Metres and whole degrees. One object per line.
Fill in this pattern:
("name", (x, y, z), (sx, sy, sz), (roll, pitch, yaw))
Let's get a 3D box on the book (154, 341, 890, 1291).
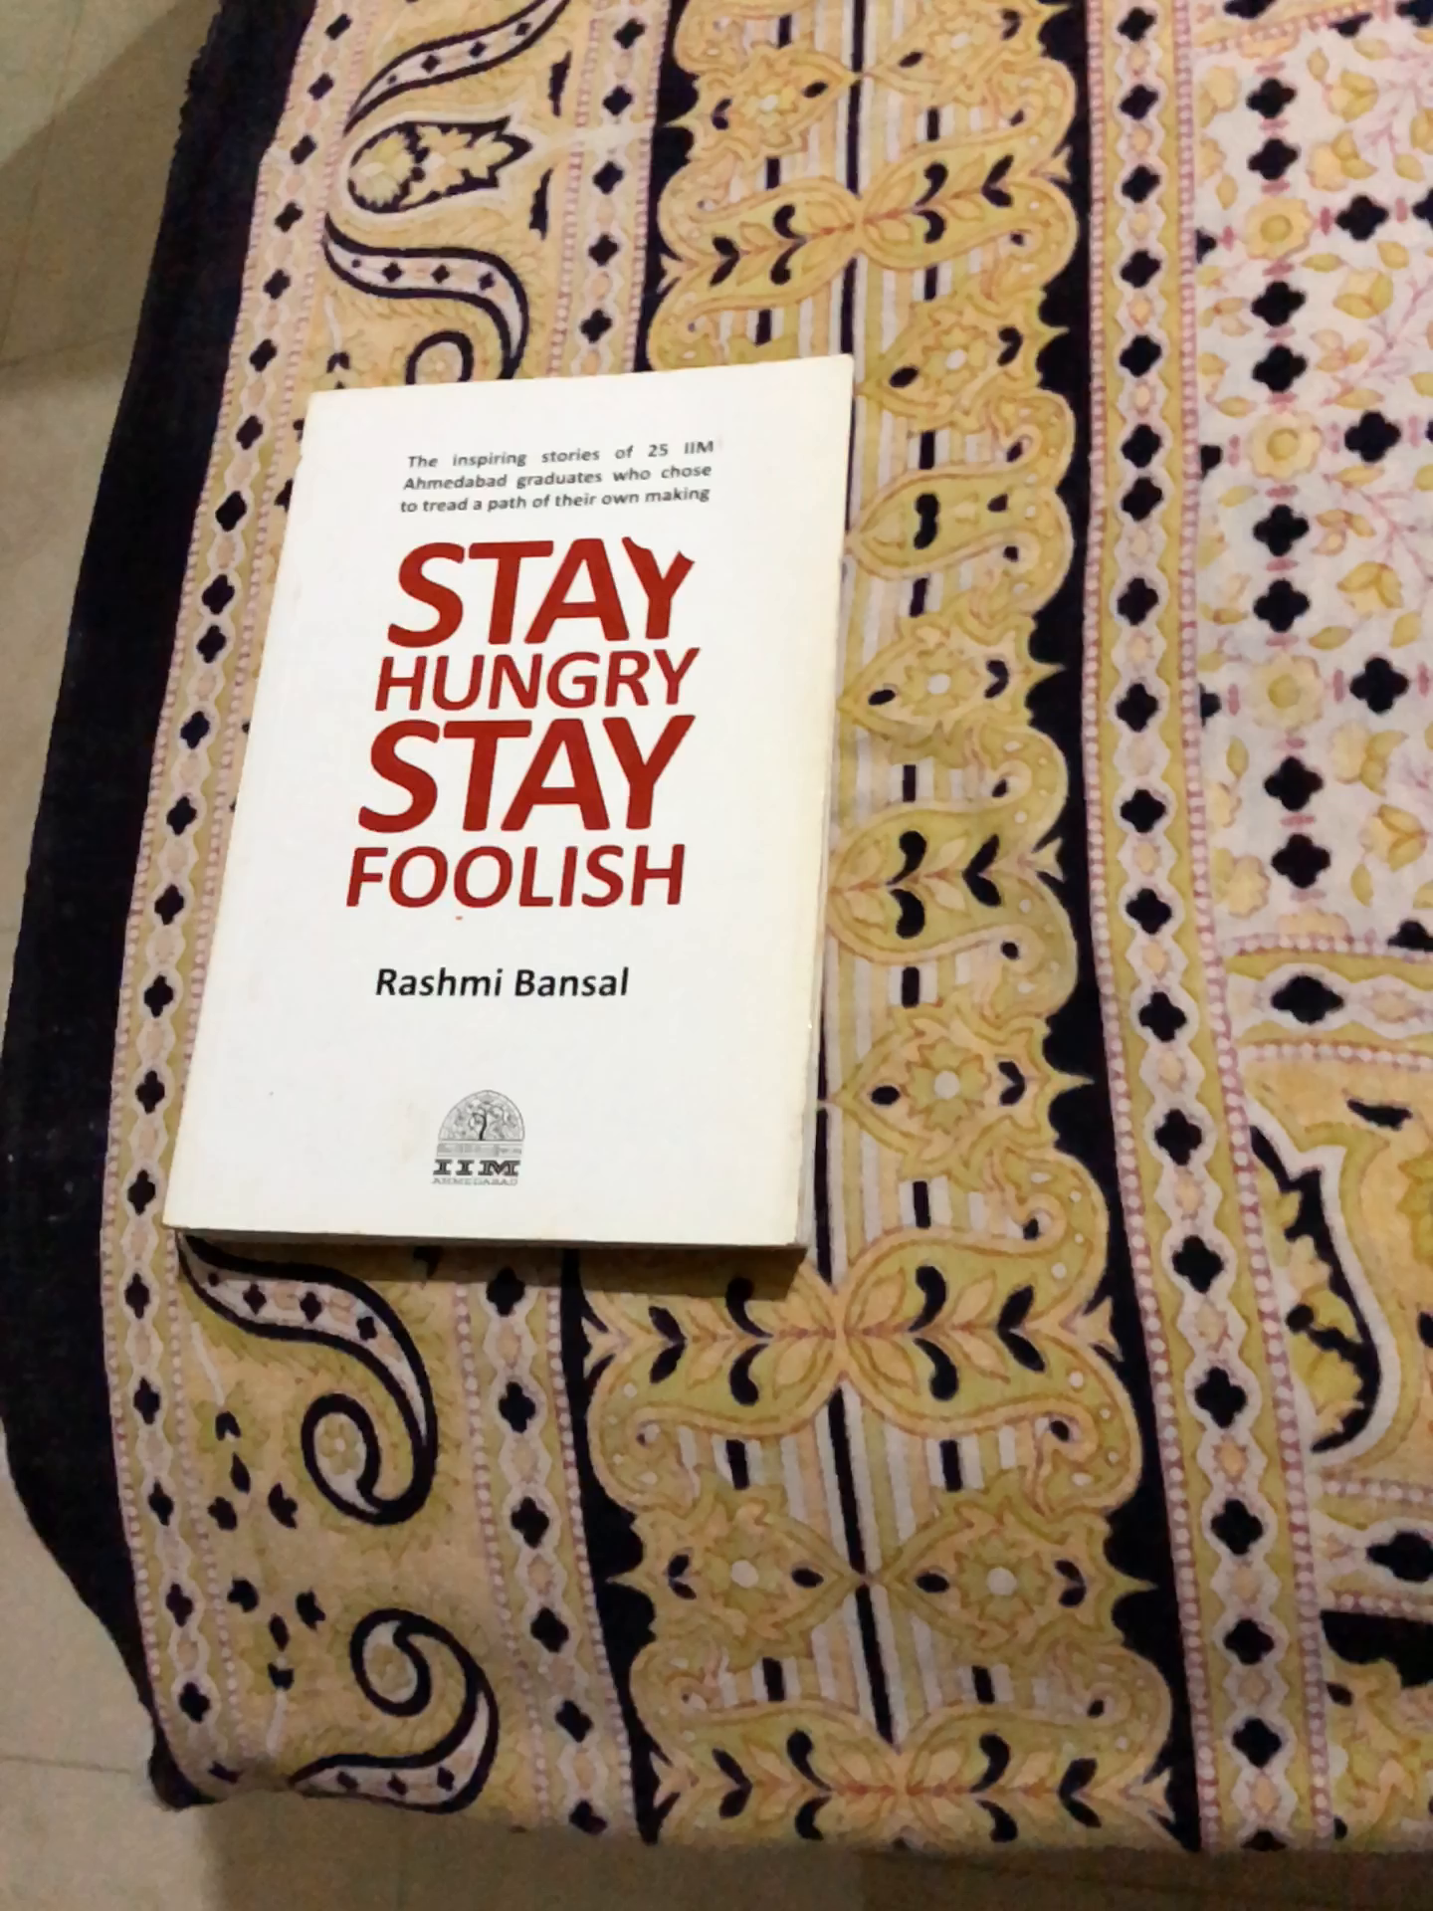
("book", (-0.037, -0.036, 0.368), (0.140, 0.040, 0.210), (1, 72, 13))
